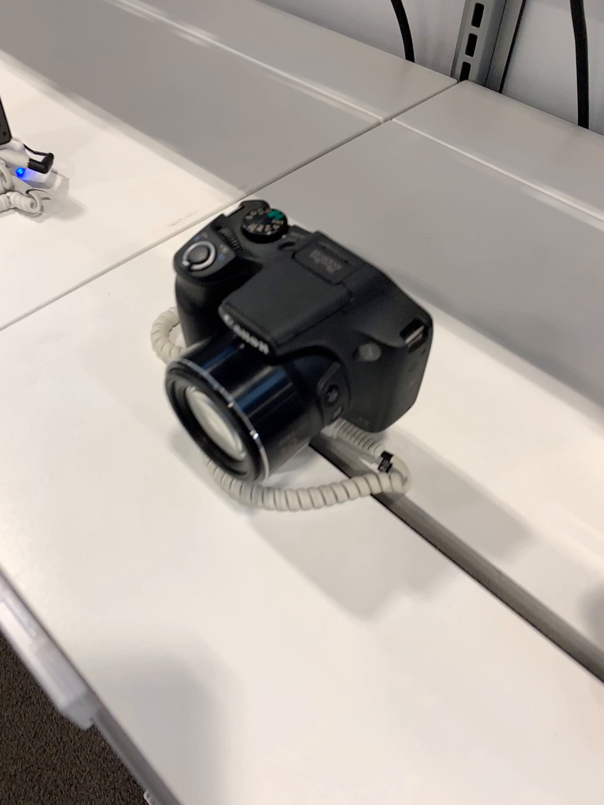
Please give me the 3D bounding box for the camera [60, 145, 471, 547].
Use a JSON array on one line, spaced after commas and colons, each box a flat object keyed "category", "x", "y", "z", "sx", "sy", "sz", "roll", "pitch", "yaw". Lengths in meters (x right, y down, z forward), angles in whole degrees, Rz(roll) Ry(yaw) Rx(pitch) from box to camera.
[{"category": "camera", "x": -0.015, "y": -0.029, "z": 0.269, "sx": 0.120, "sy": 0.090, "sz": 0.100, "roll": 36, "pitch": 58, "yaw": 24}]
